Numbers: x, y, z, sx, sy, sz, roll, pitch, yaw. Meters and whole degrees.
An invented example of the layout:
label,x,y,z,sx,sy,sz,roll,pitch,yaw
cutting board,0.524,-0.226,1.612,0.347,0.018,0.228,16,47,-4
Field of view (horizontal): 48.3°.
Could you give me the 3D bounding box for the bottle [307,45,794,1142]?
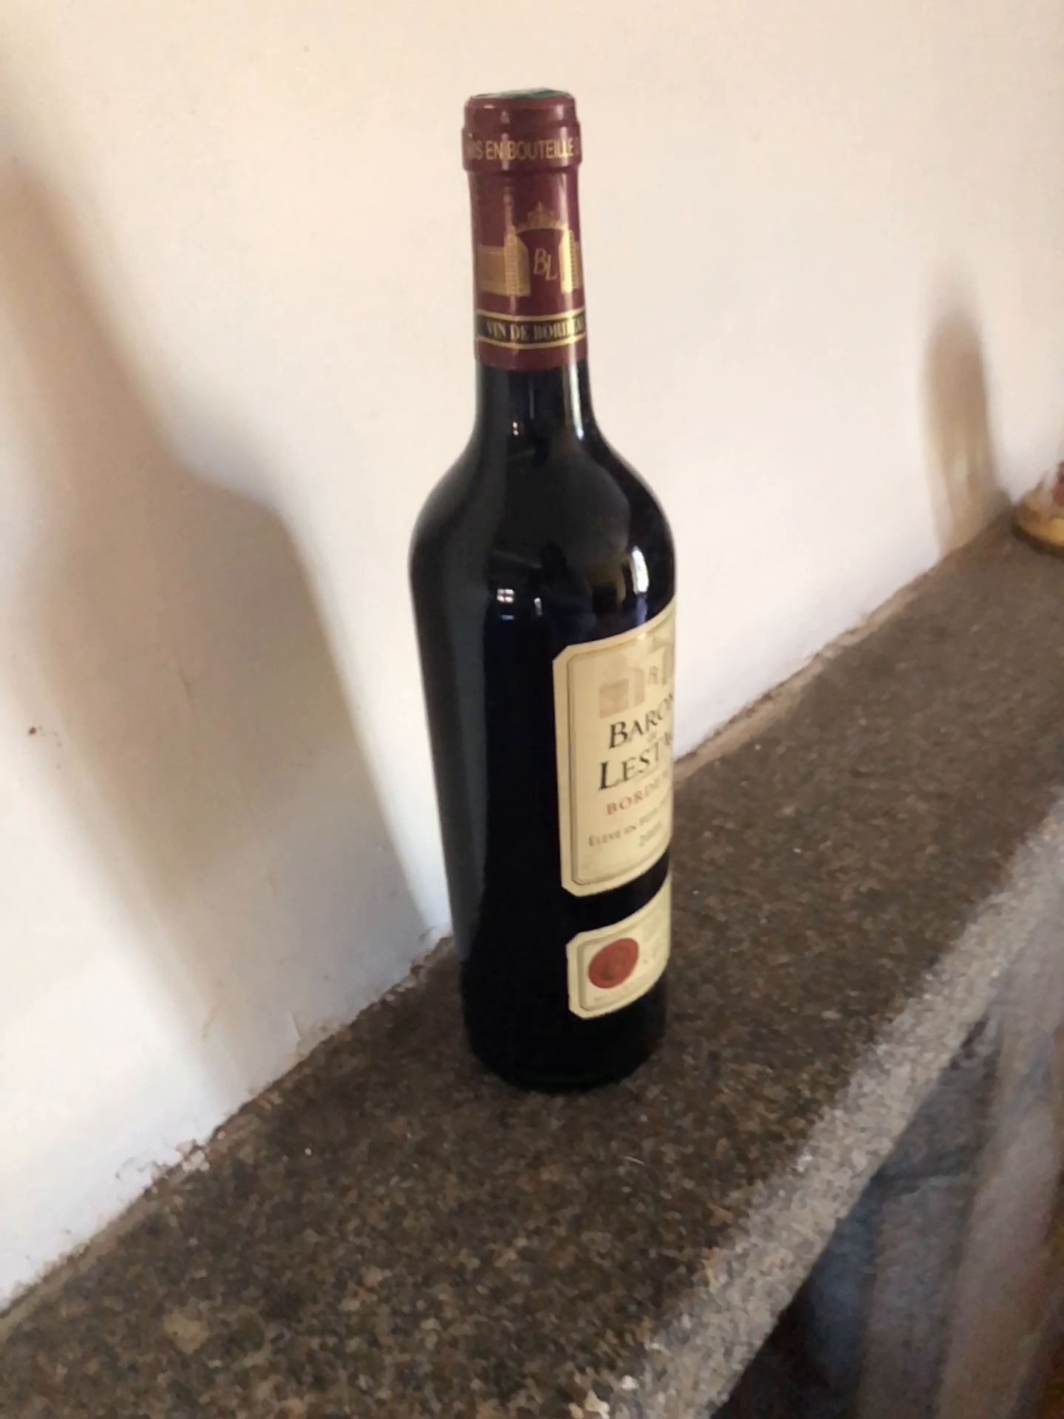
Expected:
label,x,y,z,sx,sy,sz,roll,pitch,yaw
bottle,0.014,-0.019,0.326,0.070,0.278,0.080,21,39,37
